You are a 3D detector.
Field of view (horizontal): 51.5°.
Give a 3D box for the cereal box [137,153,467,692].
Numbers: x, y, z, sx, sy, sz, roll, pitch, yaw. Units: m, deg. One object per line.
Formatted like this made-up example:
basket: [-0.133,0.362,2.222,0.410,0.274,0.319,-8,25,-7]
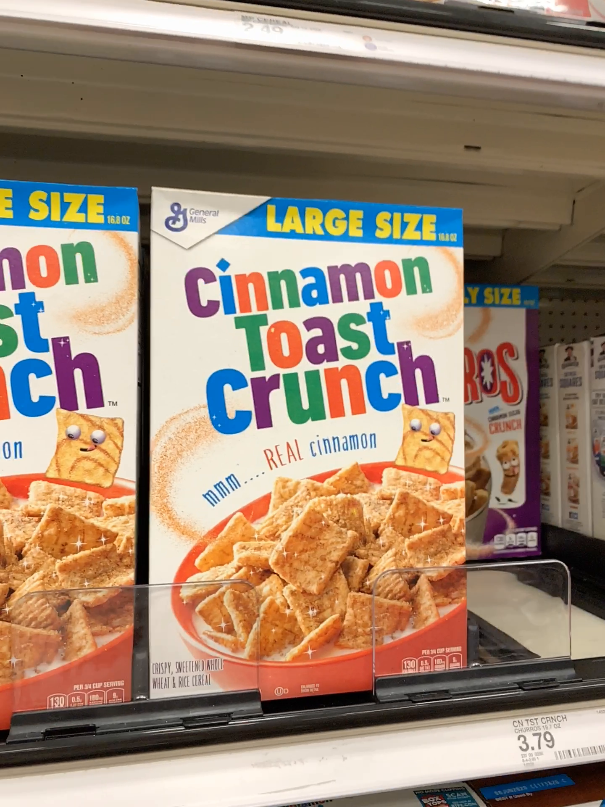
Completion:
cereal box: [-0.003,0.008,0.392,0.190,0.290,0.070,0,-2,-12]
